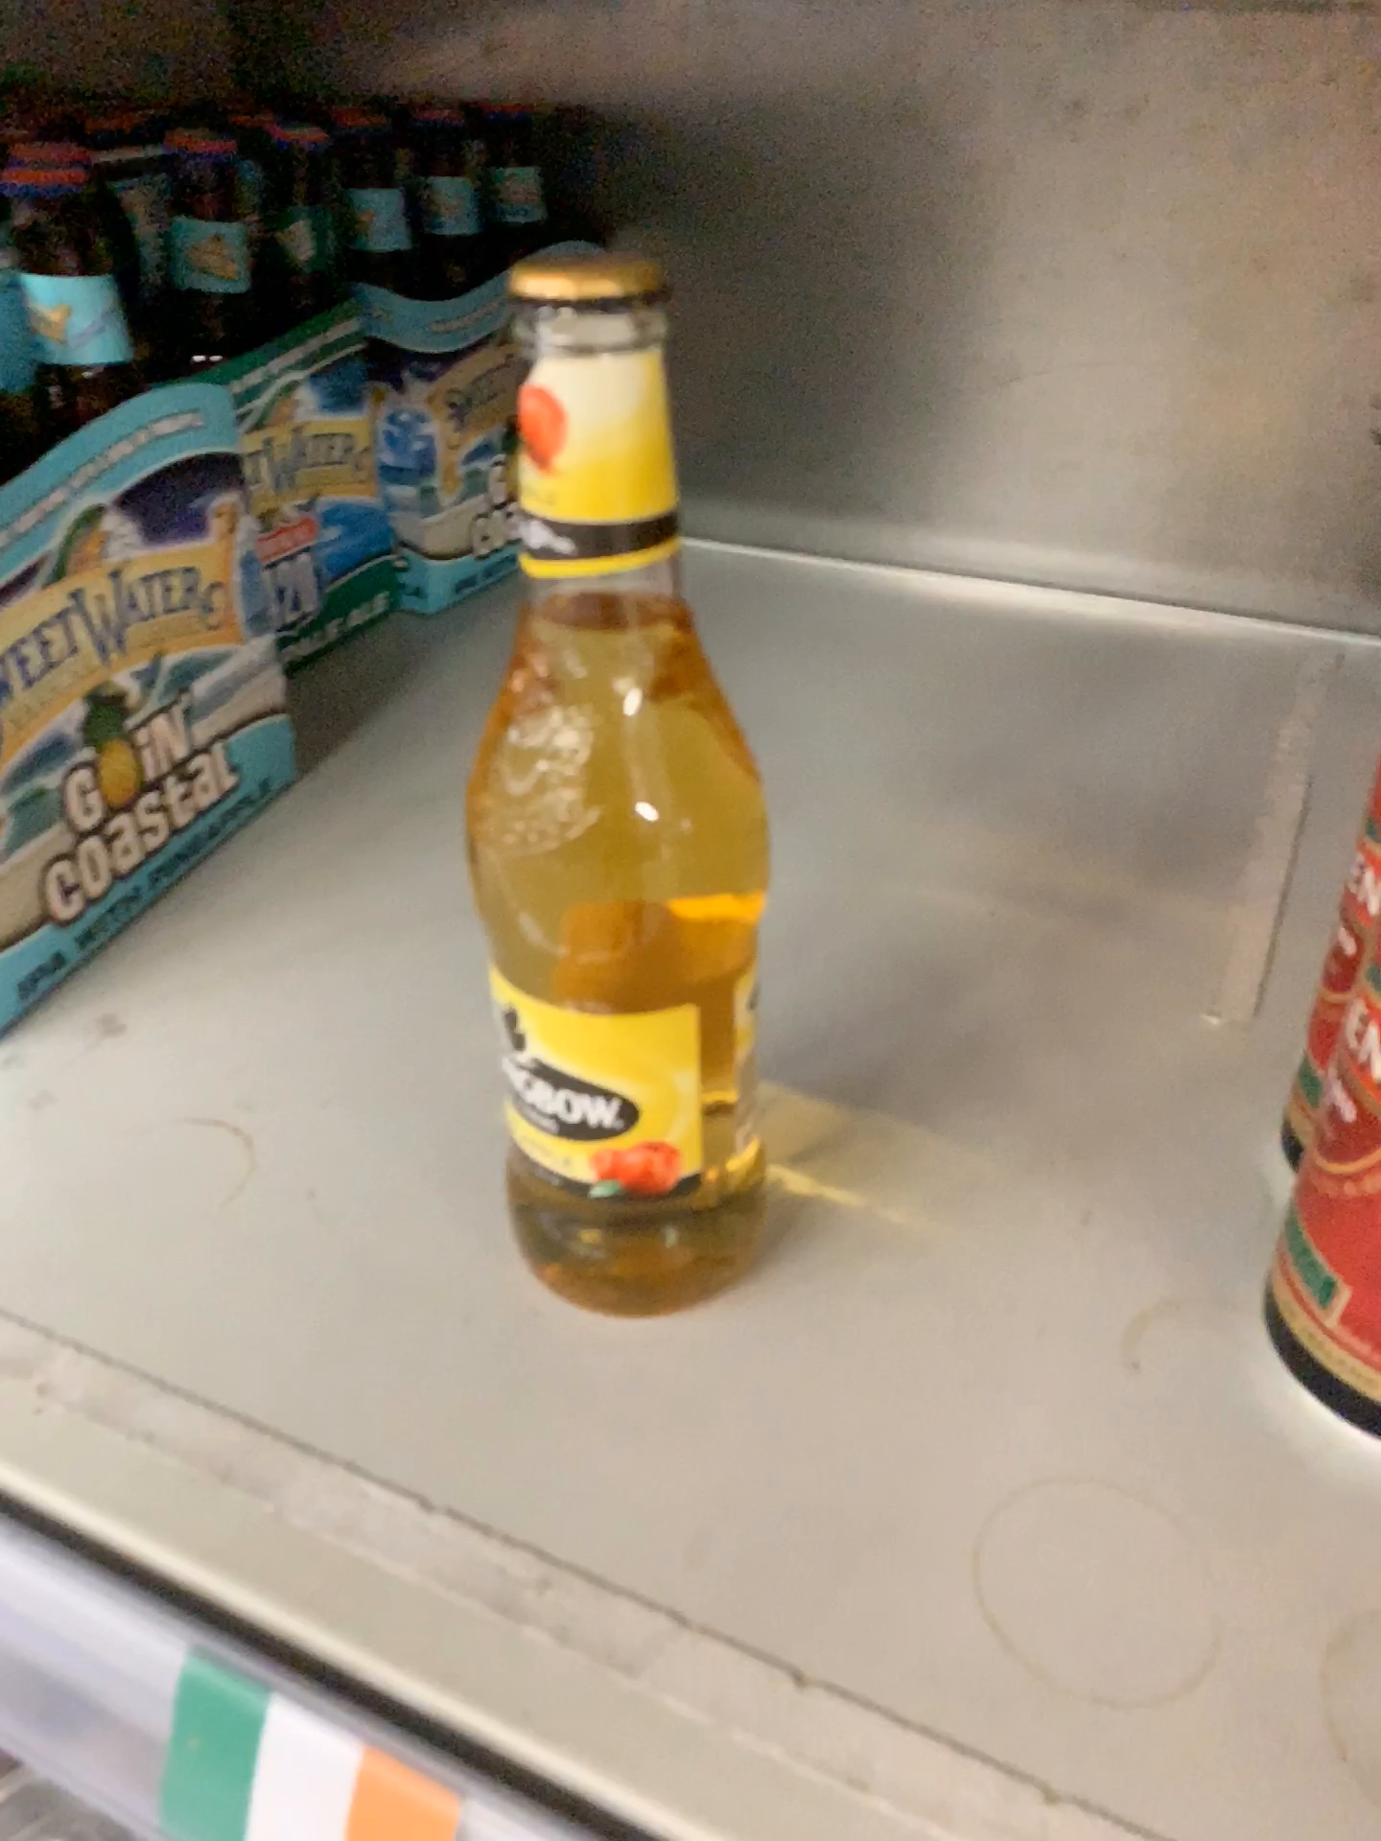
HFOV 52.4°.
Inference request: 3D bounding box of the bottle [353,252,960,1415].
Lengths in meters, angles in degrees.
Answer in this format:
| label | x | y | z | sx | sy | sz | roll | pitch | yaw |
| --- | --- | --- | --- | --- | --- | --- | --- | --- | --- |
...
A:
| label | x | y | z | sx | sy | sz | roll | pitch | yaw |
| --- | --- | --- | --- | --- | --- | --- | --- | --- | --- |
| bottle | -0.010 | -0.014 | 0.318 | 0.080 | 0.239 | 0.080 | 1 | 32 | 0 |
